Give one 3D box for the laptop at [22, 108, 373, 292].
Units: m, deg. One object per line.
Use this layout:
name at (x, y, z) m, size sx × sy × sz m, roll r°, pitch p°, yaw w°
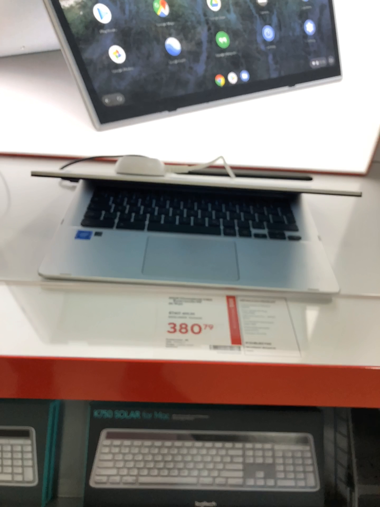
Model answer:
laptop at (0.008, -0.076, 0.503) m, size 0.317 × 0.100 × 0.226 m, roll 4°, pitch 36°, yaw -1°
